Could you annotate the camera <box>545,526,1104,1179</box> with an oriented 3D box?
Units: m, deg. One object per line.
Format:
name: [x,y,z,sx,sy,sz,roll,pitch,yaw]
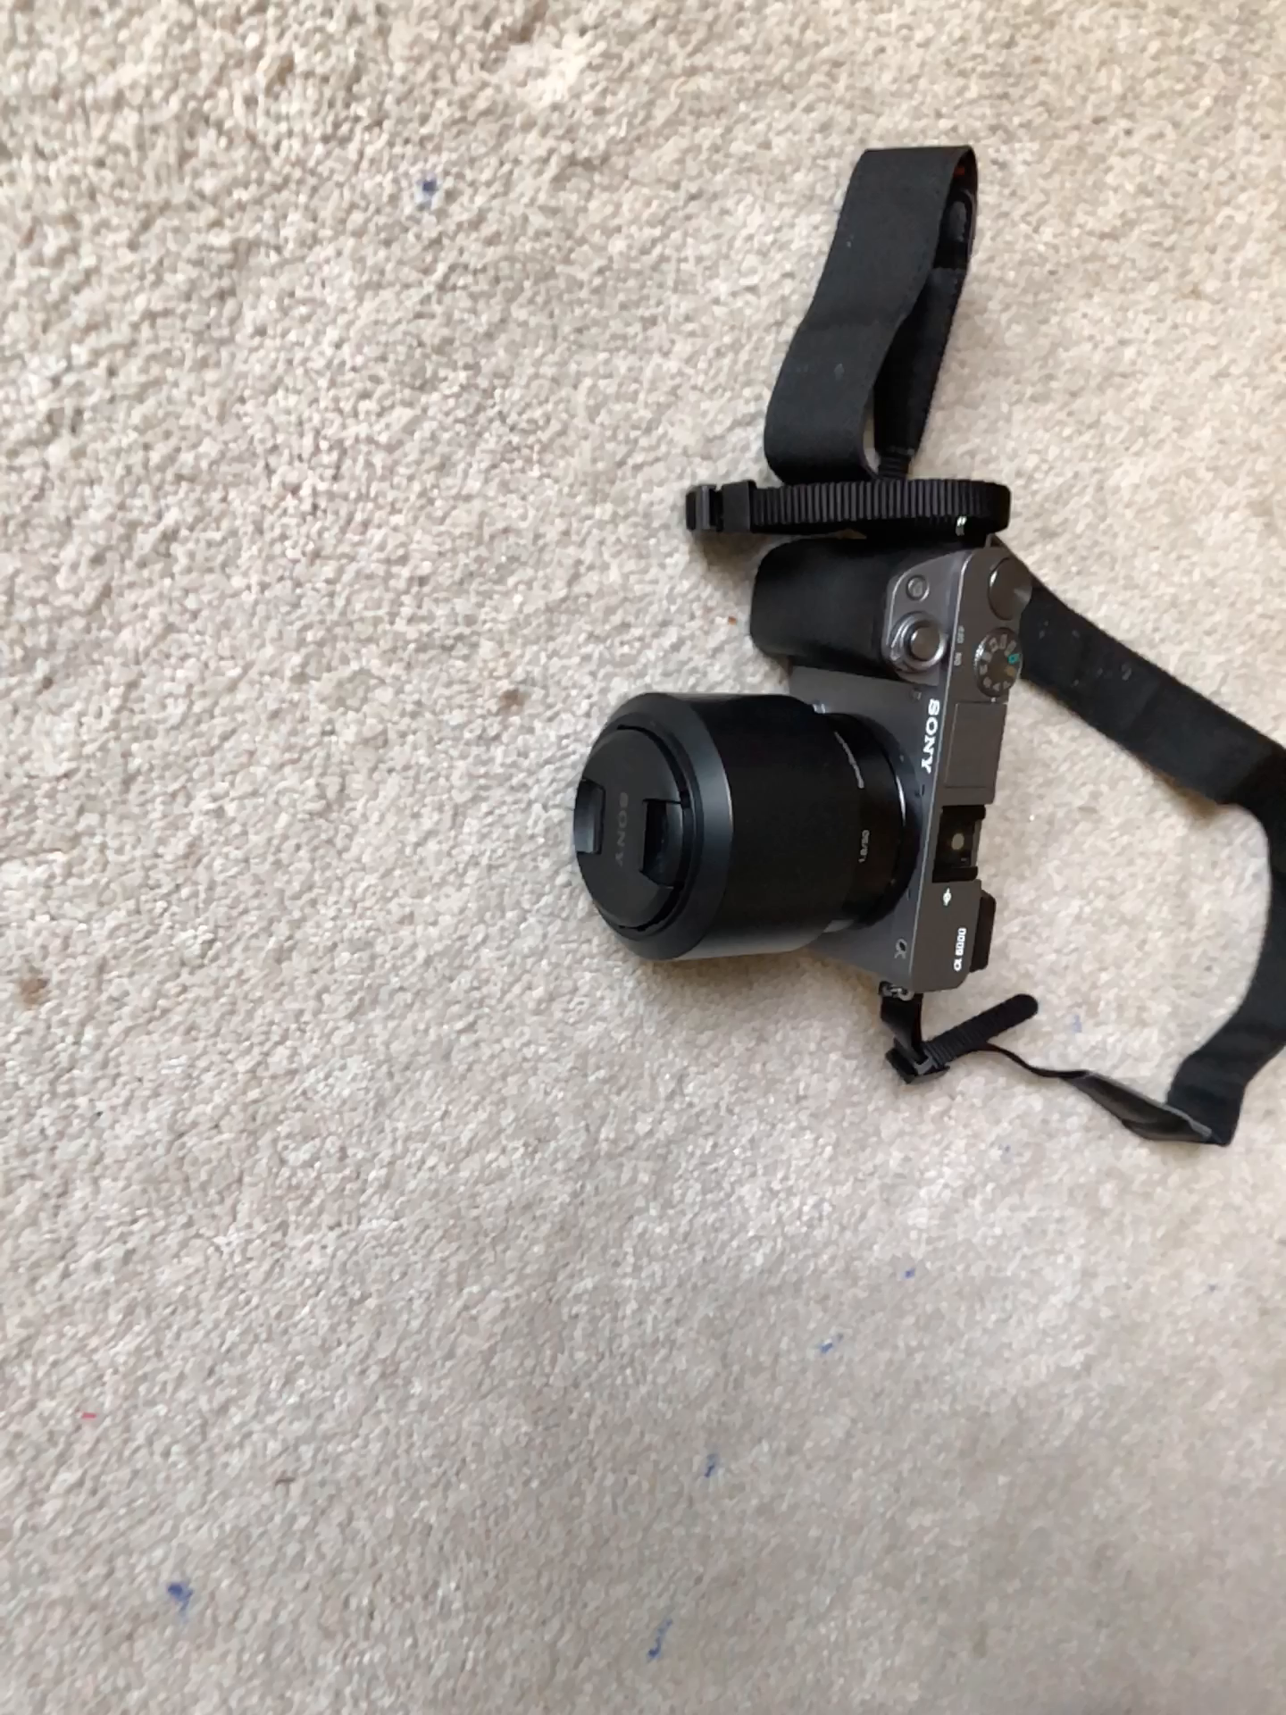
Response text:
camera: [0.044,-0.008,0.359,0.111,0.070,0.140,-4,103,-34]
